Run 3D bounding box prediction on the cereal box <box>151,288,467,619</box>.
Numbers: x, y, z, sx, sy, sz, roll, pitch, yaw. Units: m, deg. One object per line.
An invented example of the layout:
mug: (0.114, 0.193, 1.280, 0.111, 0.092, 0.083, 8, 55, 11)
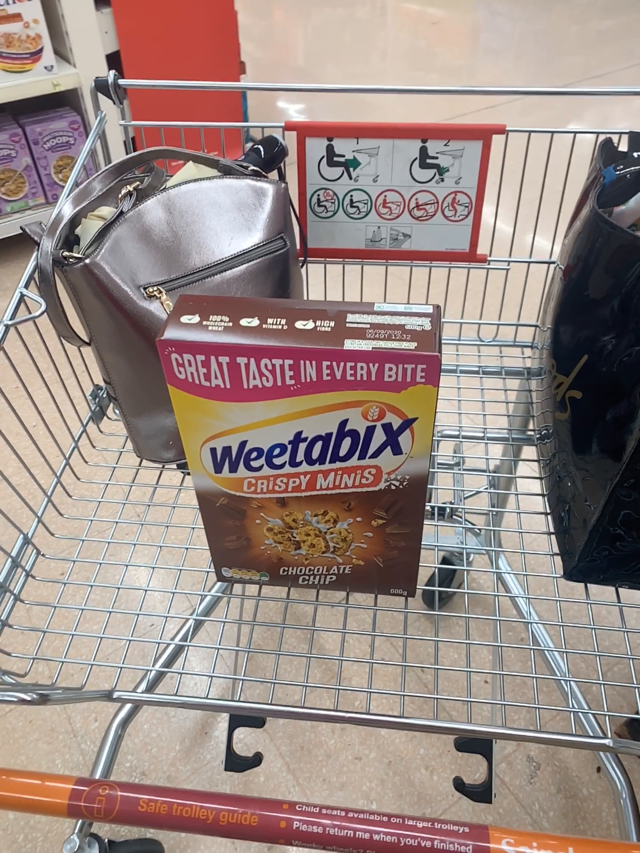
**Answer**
cereal box: (-0.004, 0.044, 0.571, 0.210, 0.327, 0.071, 3, 44, 4)
